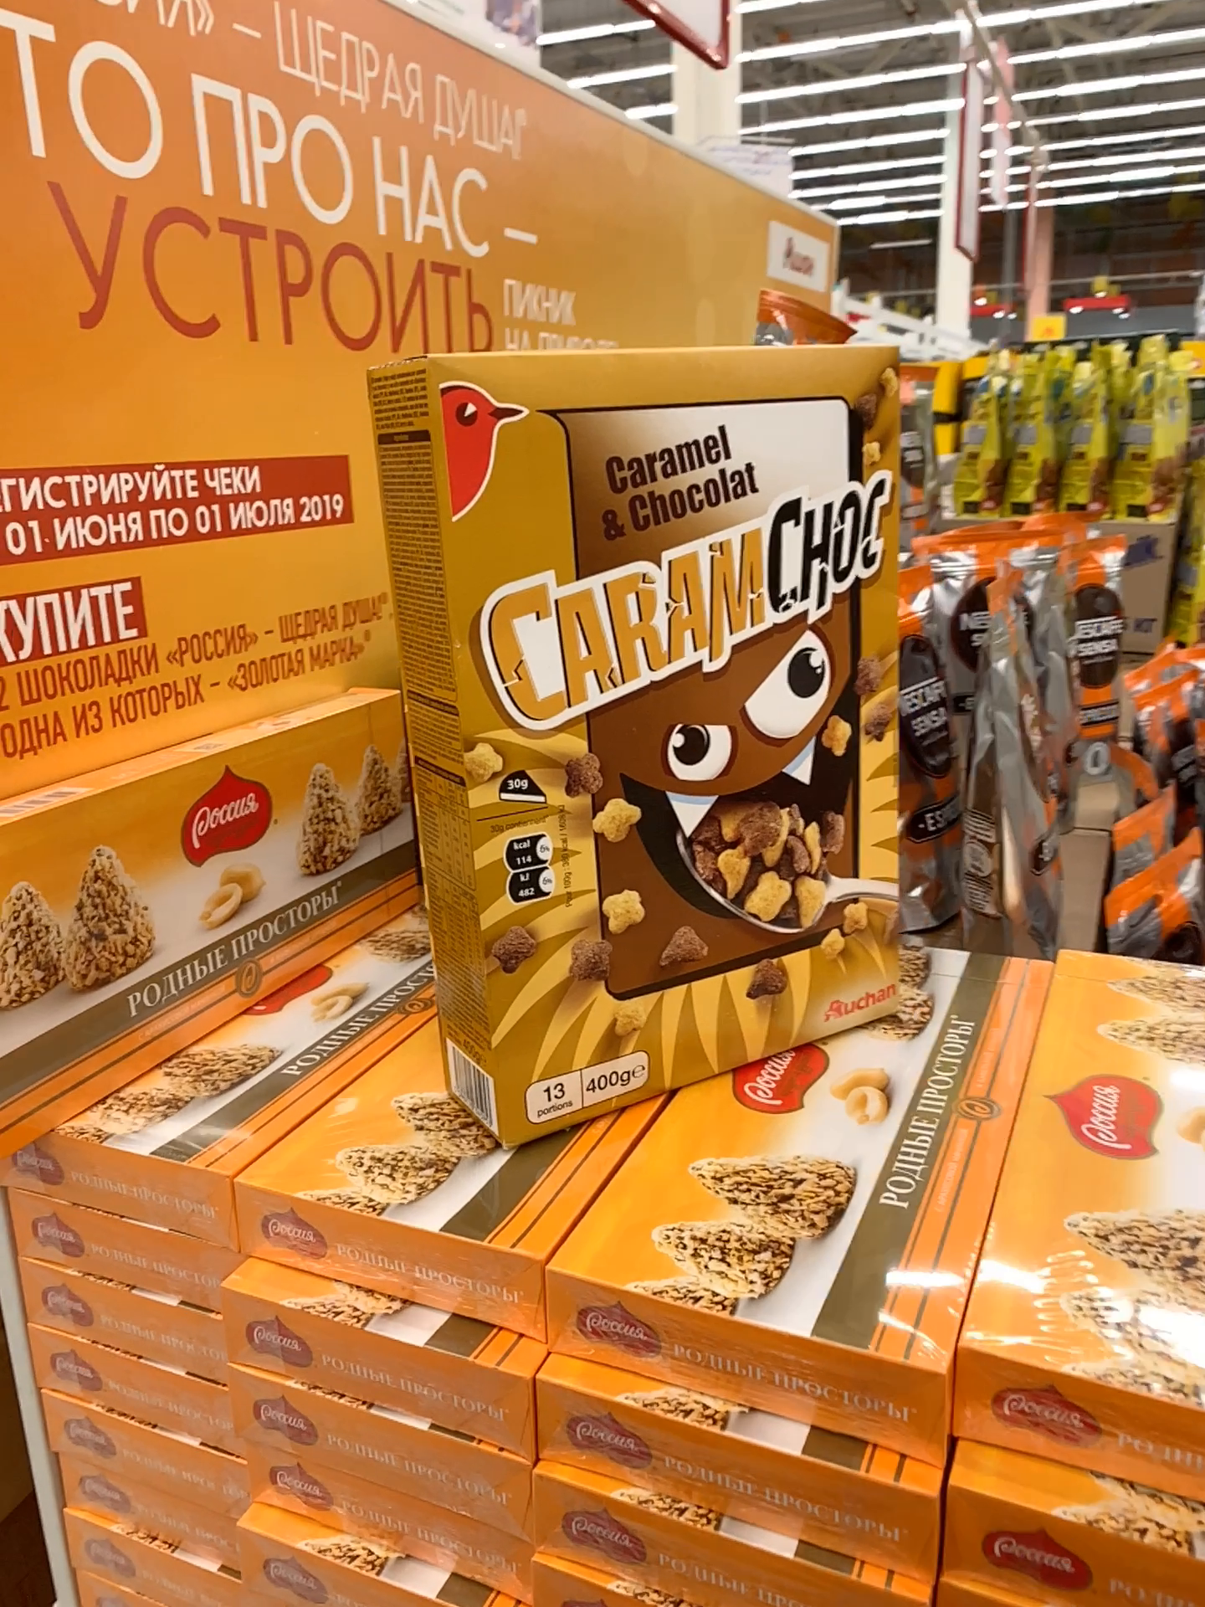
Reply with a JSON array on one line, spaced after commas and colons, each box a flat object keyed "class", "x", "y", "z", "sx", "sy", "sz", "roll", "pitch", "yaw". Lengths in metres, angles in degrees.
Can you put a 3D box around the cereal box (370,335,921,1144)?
[{"class": "cereal box", "x": 0.028, "y": -0.034, "z": 0.491, "sx": 0.200, "sy": 0.279, "sz": 0.060, "roll": -11, "pitch": 18, "yaw": -28}]
